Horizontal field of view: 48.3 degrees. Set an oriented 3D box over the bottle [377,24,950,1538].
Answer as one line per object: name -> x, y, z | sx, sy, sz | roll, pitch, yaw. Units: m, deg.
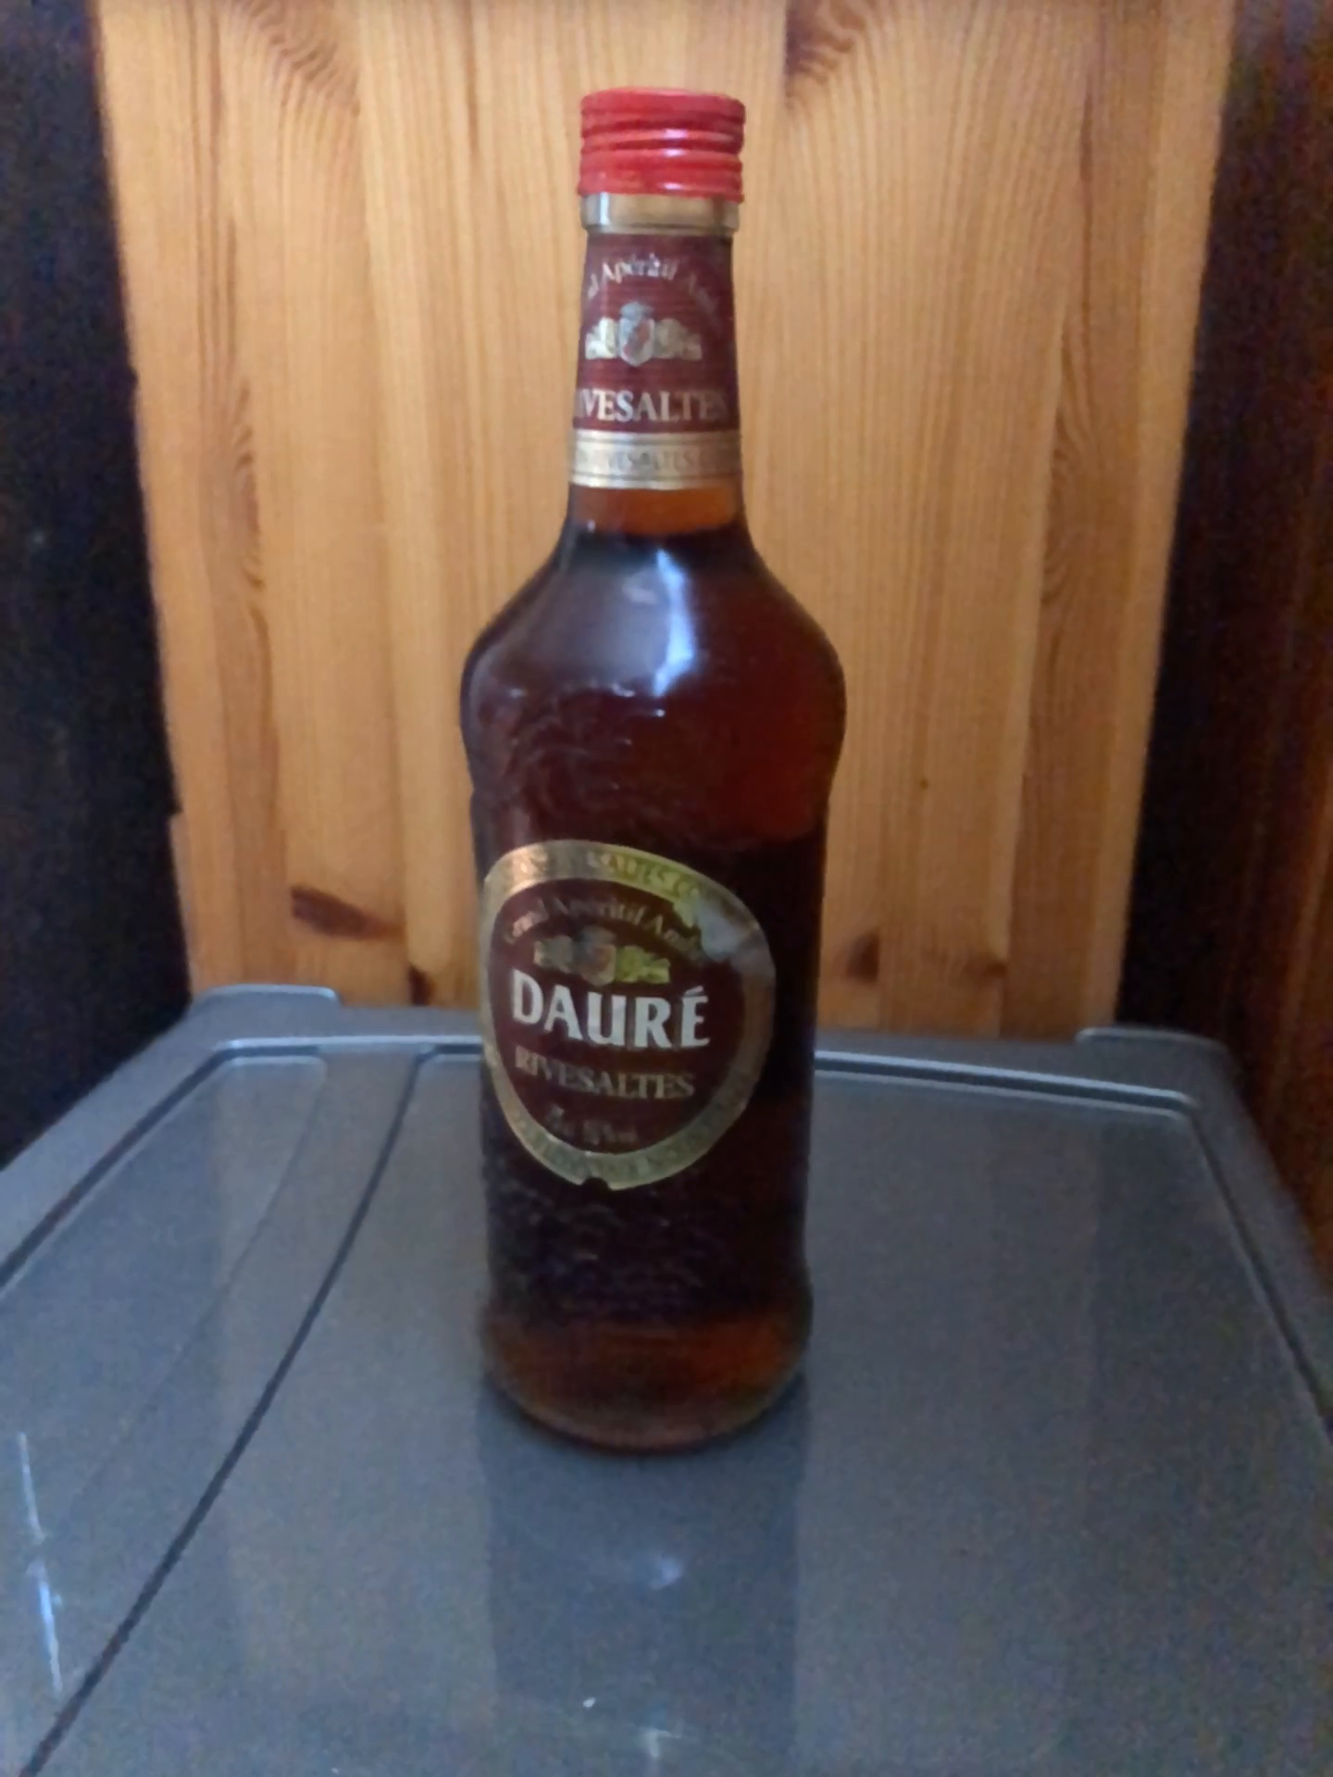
bottle -> 0.003, -0.014, 0.332 | 0.090, 0.299, 0.091 | 1, 20, 0
